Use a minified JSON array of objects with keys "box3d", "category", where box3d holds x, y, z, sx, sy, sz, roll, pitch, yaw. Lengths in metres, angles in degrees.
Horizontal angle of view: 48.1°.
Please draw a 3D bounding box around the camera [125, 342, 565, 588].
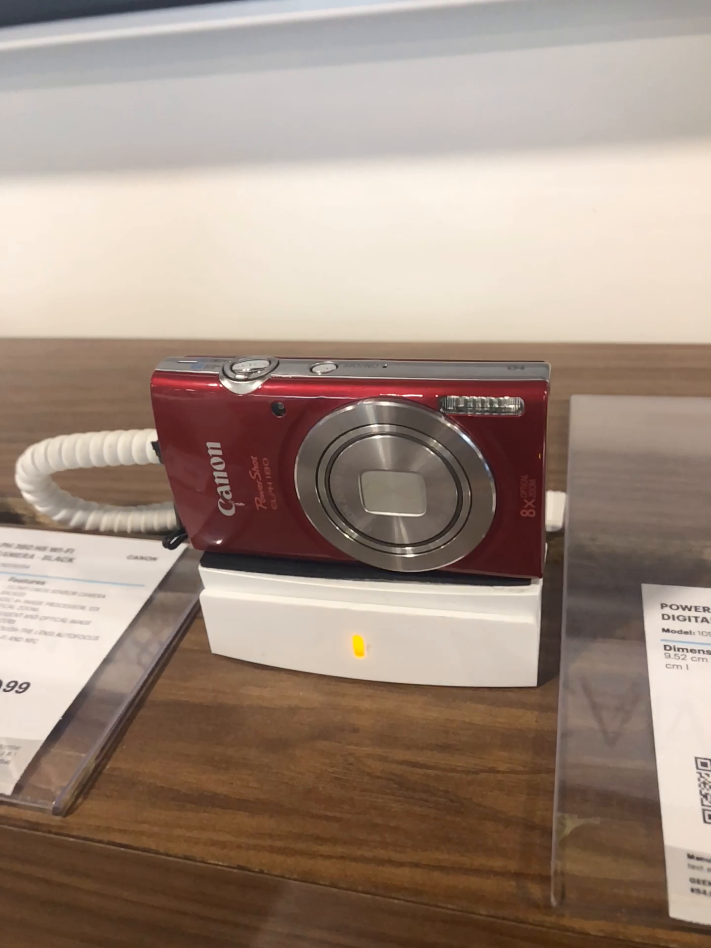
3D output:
[{"box3d":[-0.001,-0.003,0.194,0.097,0.051,0.023,3,36,16],"category":"camera"}]
